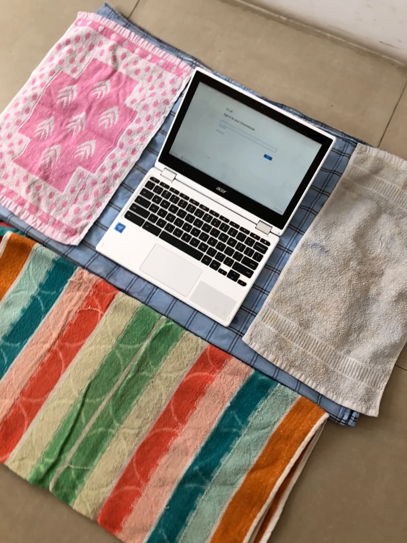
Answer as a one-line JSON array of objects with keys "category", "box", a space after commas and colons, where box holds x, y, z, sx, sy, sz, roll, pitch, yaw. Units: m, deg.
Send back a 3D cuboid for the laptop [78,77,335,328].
[{"category": "laptop", "box": [0.014, -0.128, 0.816, 0.285, 0.101, 0.367, 30, 76, 8]}]
